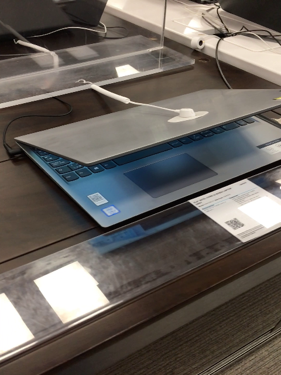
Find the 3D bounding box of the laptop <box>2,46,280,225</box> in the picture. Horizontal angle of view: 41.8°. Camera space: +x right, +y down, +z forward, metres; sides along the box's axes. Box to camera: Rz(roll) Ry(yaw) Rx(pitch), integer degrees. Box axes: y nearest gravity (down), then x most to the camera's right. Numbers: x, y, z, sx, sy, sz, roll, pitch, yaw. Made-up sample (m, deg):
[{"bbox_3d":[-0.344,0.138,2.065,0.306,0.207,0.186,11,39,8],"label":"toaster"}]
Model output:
[{"bbox_3d":[0.043,-0.104,0.566,0.378,0.098,0.237,-23,48,-23],"label":"laptop"}]
